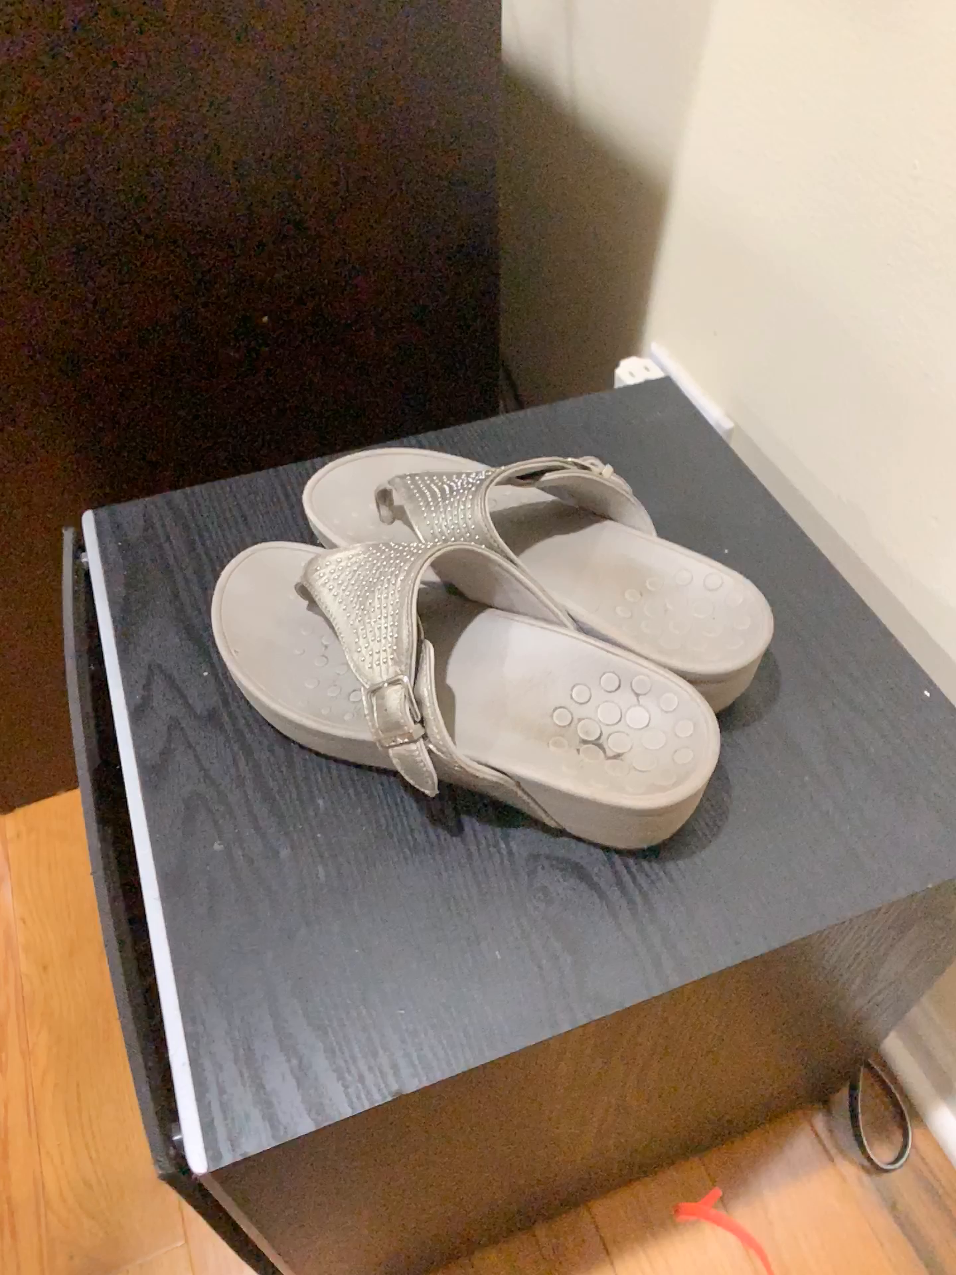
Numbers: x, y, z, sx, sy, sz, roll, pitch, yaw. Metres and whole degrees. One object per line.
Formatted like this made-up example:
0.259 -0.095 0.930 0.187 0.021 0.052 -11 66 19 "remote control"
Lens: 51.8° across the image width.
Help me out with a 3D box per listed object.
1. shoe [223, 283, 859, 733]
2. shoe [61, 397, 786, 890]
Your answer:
0.024 -0.068 0.447 0.248 0.080 0.109 23 53 19 "shoe"
-0.019 -0.006 0.396 0.247 0.080 0.109 17 52 15 "shoe"
